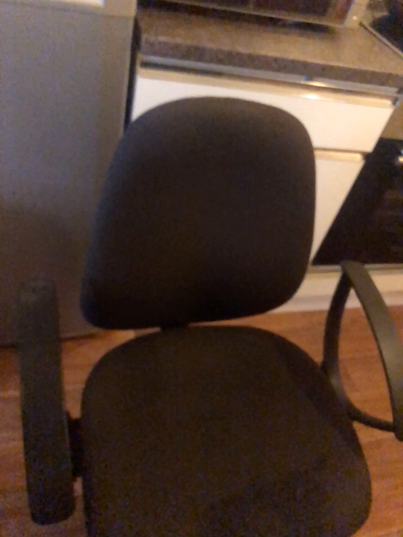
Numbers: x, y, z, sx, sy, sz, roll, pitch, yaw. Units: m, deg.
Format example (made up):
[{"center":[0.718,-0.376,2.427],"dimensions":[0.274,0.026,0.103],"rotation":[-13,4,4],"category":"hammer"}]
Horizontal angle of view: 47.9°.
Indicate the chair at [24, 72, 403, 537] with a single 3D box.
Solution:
[{"center":[0.047,0.252,0.828],"dimensions":[0.638,0.882,0.645],"rotation":[-3,48,-19],"category":"chair"}]
